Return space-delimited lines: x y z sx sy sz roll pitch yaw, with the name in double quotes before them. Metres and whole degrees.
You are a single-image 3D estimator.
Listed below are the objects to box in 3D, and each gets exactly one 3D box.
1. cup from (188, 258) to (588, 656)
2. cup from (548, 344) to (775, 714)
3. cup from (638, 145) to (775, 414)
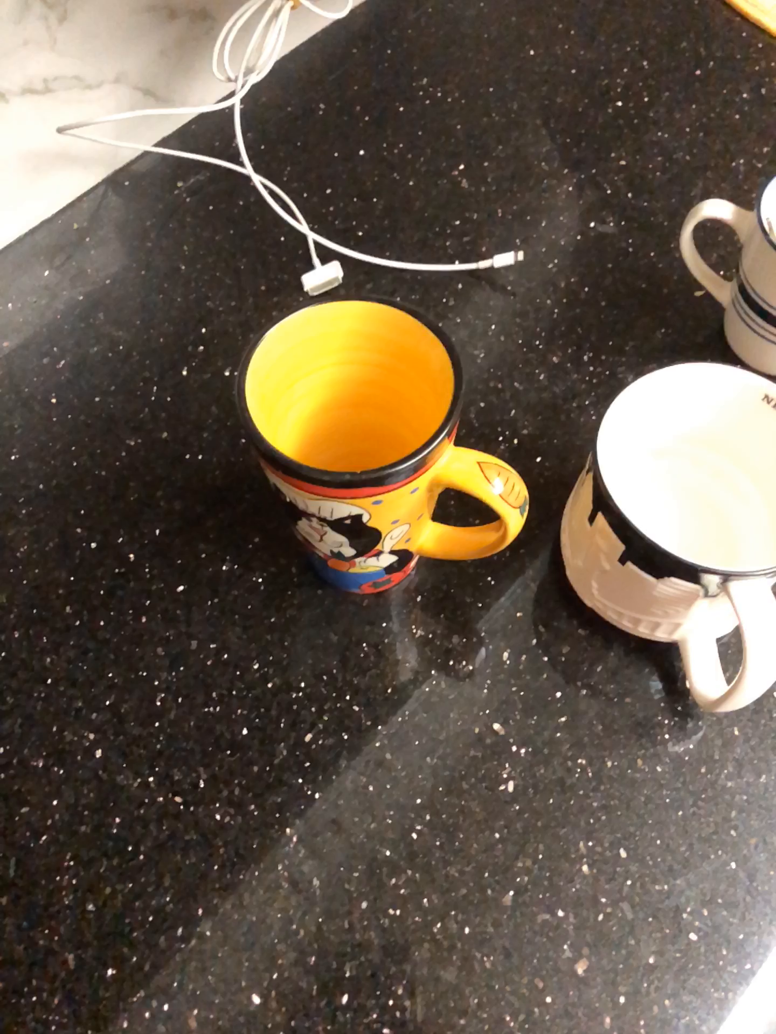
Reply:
"cup" 0.003 -0.021 0.388 0.130 0.130 0.090 20 65 11
"cup" 0.146 0.008 0.402 0.110 0.100 0.140 -2 62 0
"cup" 0.223 -0.132 0.477 0.140 0.080 0.100 10 63 6
